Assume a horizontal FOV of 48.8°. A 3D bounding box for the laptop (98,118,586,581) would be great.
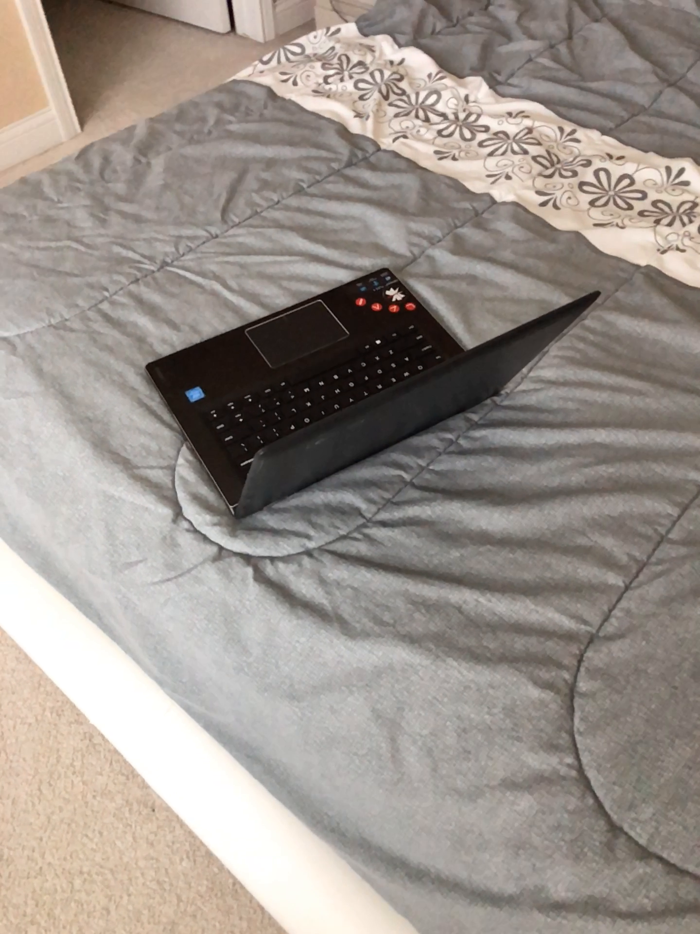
[{"bbox_3d":[-0.015,-0.149,0.857,0.361,0.214,0.352,-26,56,-17],"label":"laptop"}]
